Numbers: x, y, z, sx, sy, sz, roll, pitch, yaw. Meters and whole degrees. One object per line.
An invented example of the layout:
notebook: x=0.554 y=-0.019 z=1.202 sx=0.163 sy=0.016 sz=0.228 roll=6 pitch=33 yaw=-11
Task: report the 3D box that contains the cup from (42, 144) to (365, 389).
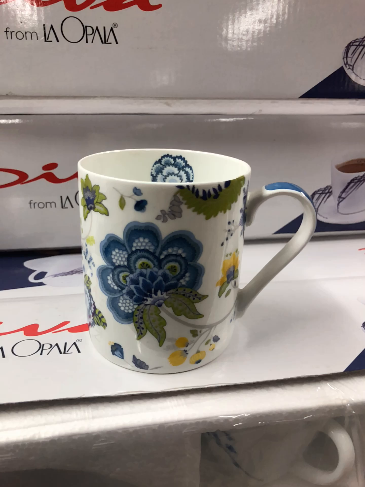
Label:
cup: x=0.005 y=0.003 z=0.186 sx=0.110 sy=0.080 sz=0.080 roll=-1 pitch=23 yaw=-6
